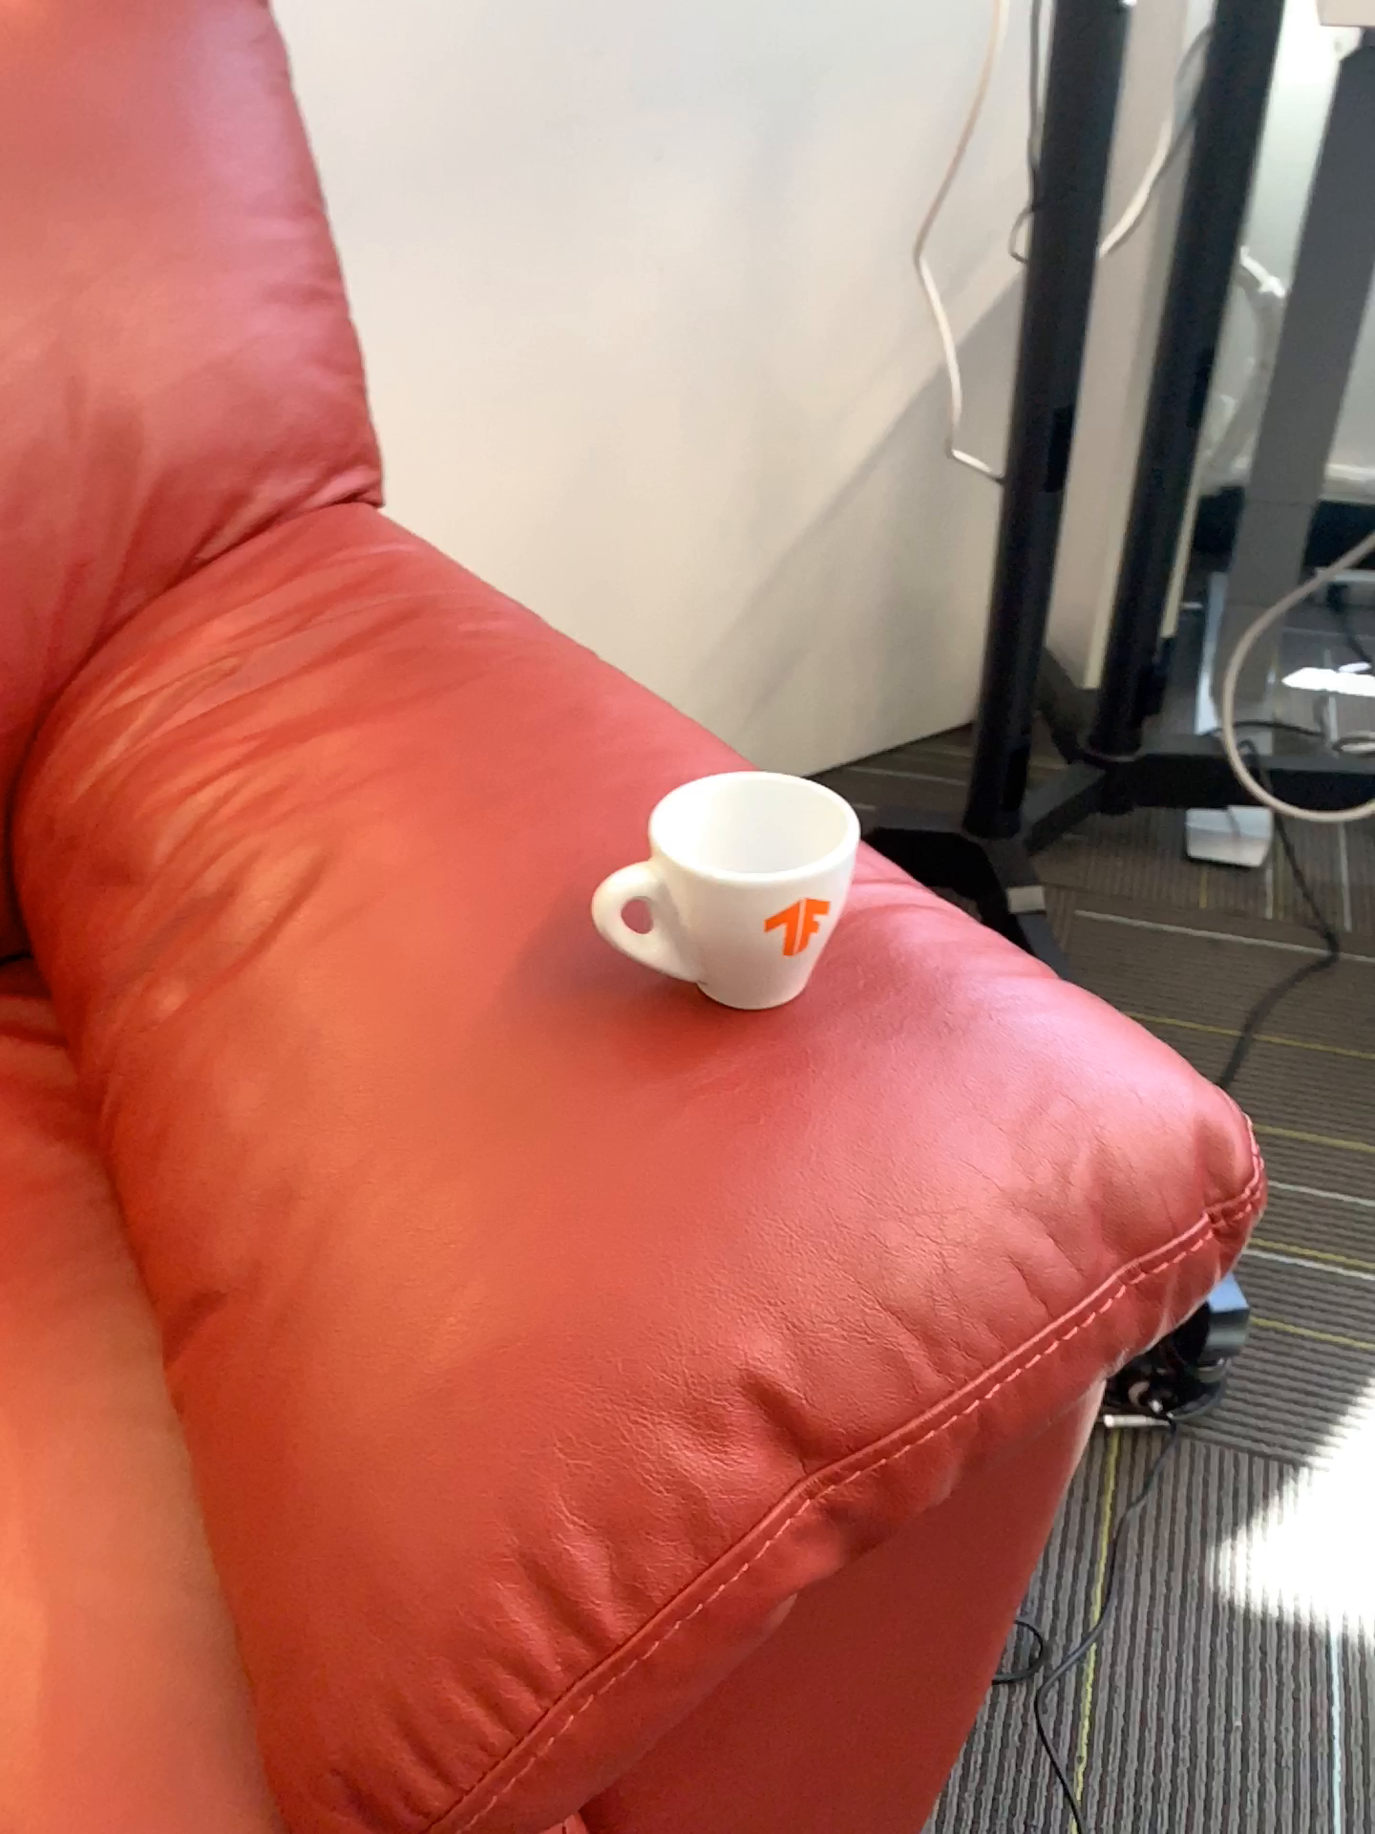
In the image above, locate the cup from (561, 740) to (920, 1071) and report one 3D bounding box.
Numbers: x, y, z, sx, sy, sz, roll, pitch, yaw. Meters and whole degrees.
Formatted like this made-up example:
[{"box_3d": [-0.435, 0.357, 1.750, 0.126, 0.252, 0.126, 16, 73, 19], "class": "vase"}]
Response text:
[{"box_3d": [0.015, -0.005, 0.432, 0.090, 0.060, 0.060, -12, 39, -13], "class": "cup"}]
